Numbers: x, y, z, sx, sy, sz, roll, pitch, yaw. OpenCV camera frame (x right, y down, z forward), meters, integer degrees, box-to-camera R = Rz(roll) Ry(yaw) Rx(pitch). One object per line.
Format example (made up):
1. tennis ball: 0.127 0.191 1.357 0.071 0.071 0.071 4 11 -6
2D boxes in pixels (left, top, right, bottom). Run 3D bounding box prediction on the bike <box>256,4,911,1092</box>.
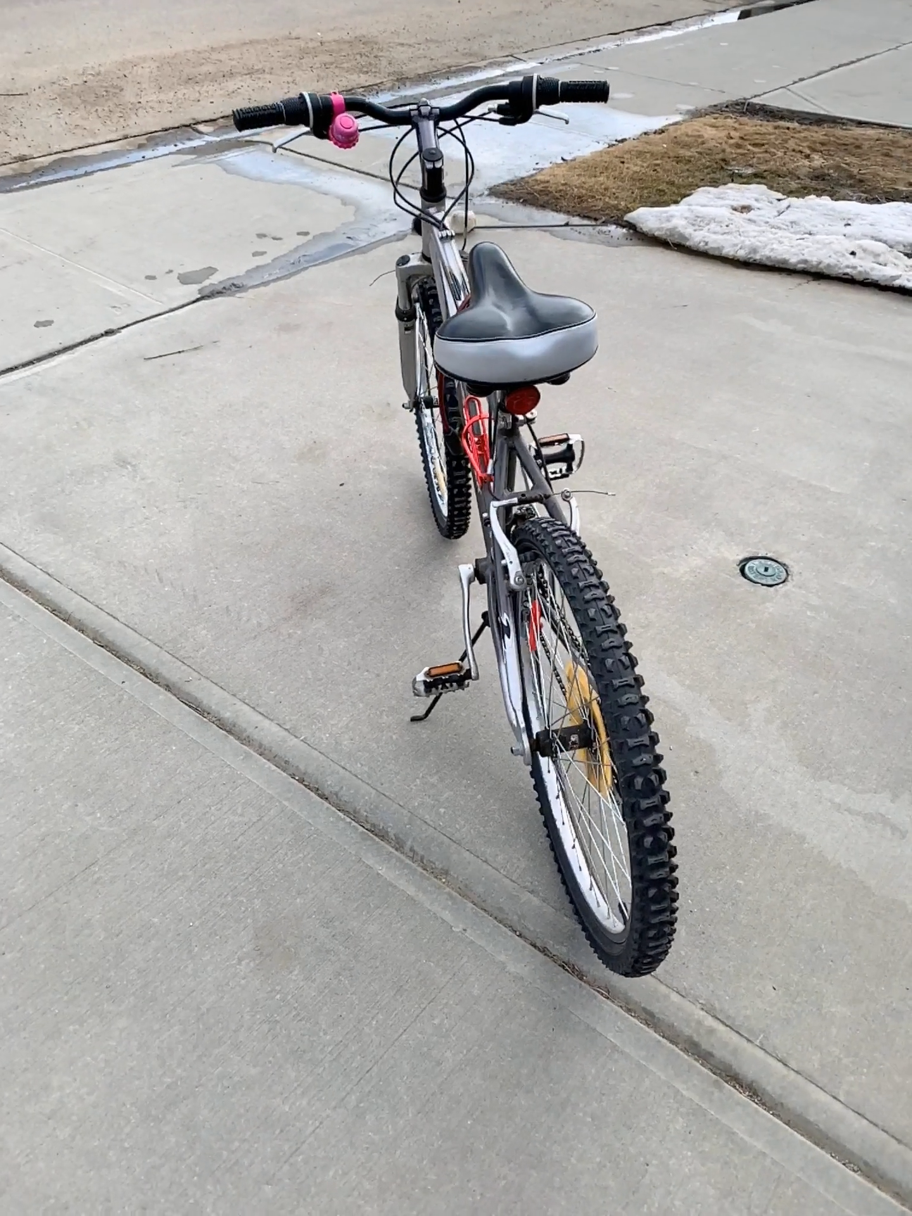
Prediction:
1. bike: 0.026 -0.268 1.430 0.538 0.825 1.508 -5 44 -10
